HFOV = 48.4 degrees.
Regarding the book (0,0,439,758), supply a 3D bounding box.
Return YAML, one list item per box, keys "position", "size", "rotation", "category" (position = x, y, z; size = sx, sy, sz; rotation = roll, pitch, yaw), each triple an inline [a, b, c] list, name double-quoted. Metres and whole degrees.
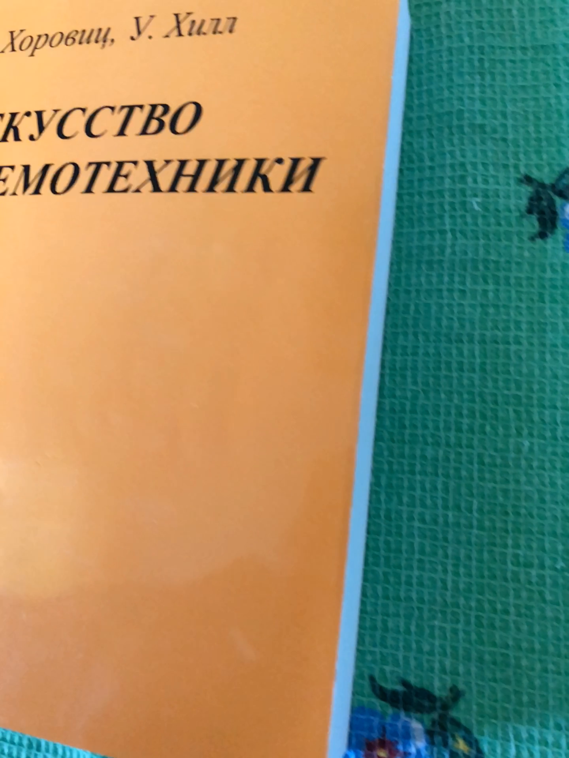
- position: [-0.049, -0.018, 0.217]
  size: [0.180, 0.050, 0.260]
  rotation: [4, 77, 15]
  category: "book"
